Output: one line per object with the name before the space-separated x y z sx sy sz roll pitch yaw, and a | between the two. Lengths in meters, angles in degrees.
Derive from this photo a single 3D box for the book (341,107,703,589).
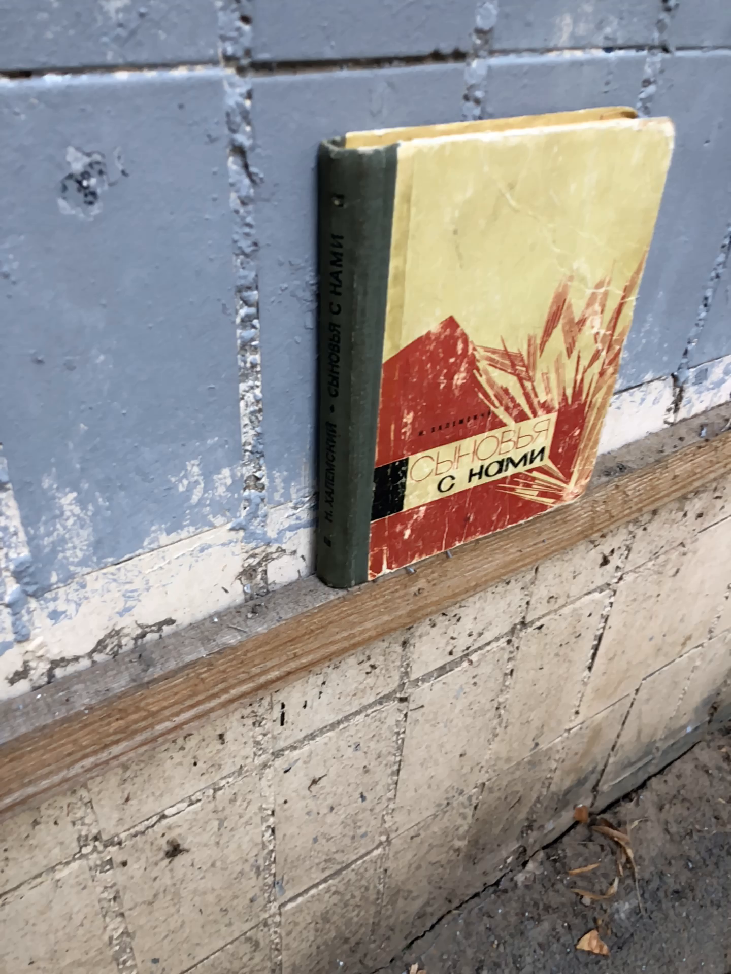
book | 0.054 -0.050 0.300 0.135 0.156 0.020 -18 38 -28
